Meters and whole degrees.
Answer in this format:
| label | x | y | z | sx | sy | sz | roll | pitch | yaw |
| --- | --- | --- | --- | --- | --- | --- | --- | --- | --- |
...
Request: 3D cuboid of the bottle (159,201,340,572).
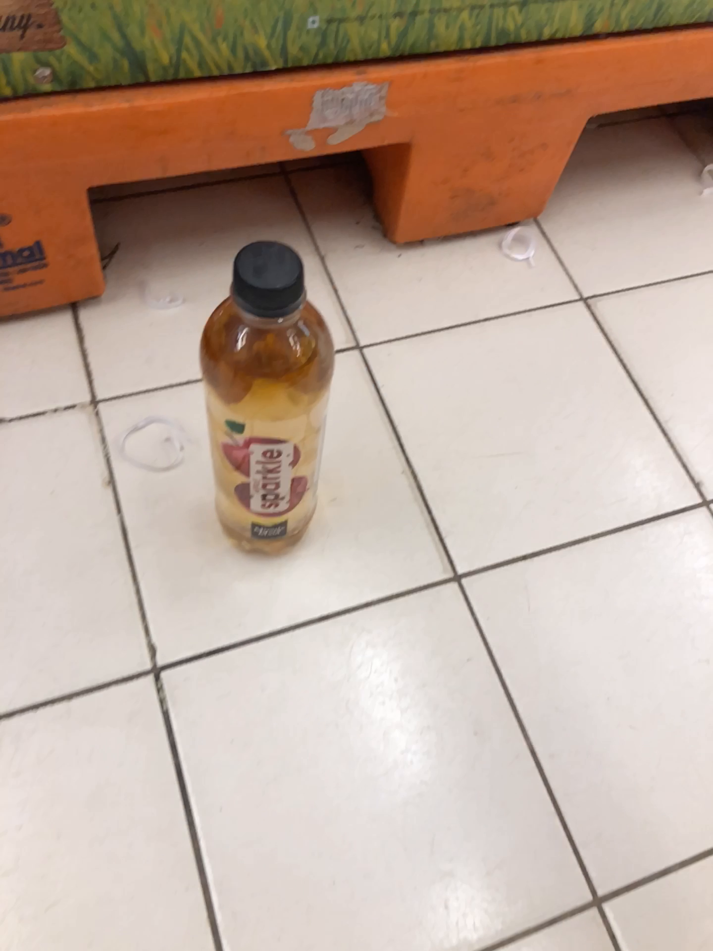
| label | x | y | z | sx | sy | sz | roll | pitch | yaw |
| --- | --- | --- | --- | --- | --- | --- | --- | --- | --- |
| bottle | -0.057 | -0.029 | 0.427 | 0.070 | 0.239 | 0.070 | 3 | 60 | -5 |
